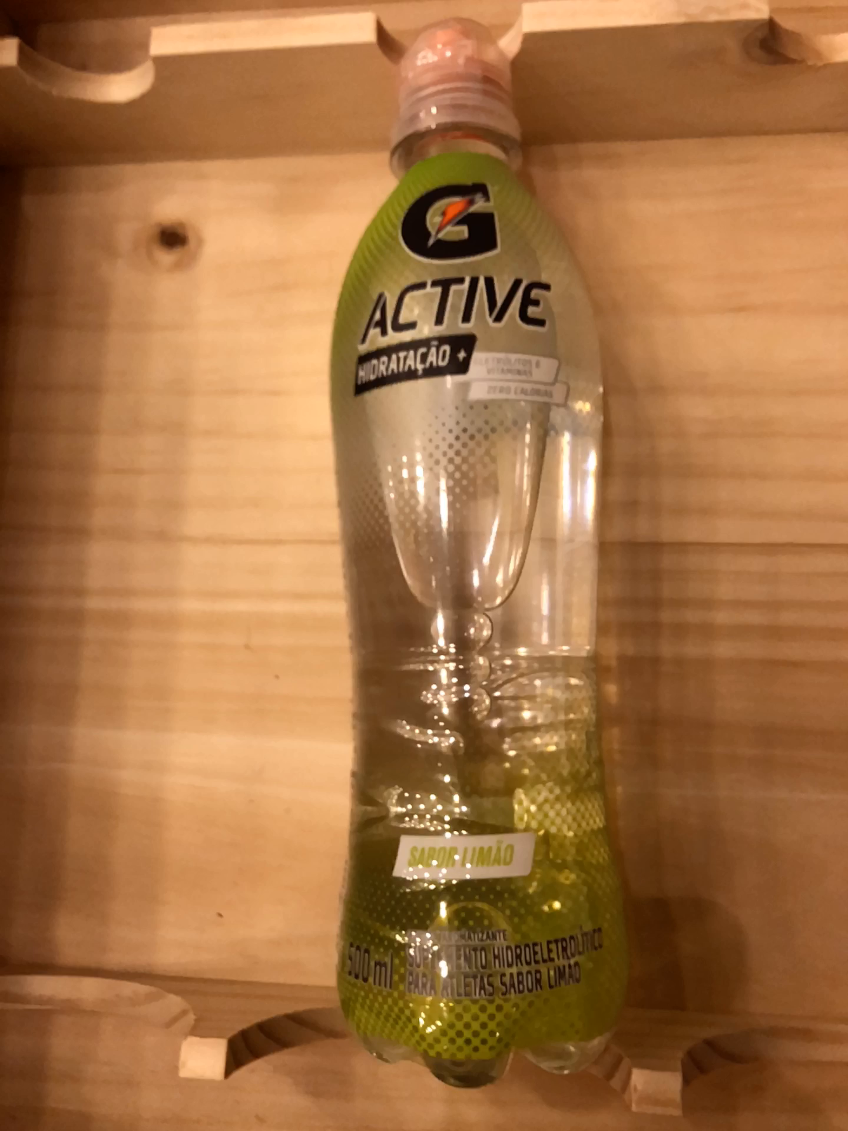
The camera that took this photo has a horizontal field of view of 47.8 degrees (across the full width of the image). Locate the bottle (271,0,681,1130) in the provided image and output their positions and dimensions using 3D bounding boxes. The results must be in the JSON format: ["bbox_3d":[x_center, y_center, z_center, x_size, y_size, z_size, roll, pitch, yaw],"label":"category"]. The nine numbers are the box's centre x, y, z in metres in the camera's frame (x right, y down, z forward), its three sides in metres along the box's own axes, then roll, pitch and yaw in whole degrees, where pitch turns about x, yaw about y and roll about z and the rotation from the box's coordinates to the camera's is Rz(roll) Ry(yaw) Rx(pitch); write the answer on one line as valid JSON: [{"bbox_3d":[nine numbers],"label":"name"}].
[{"bbox_3d":[0.010,-0.025,0.222,0.070,0.070,0.270,-2,79,6],"label":"bottle"}]
